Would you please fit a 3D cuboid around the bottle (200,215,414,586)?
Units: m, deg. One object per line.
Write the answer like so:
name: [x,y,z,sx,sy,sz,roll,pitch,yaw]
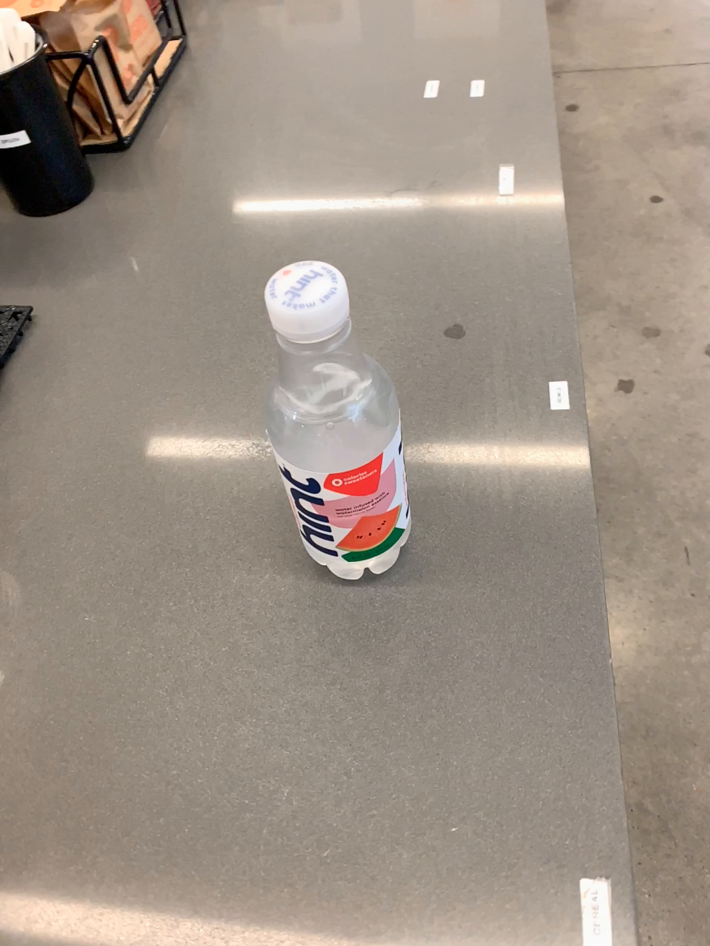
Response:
bottle: [-0.010,-0.021,0.371,0.070,0.199,0.070,-4,53,5]
